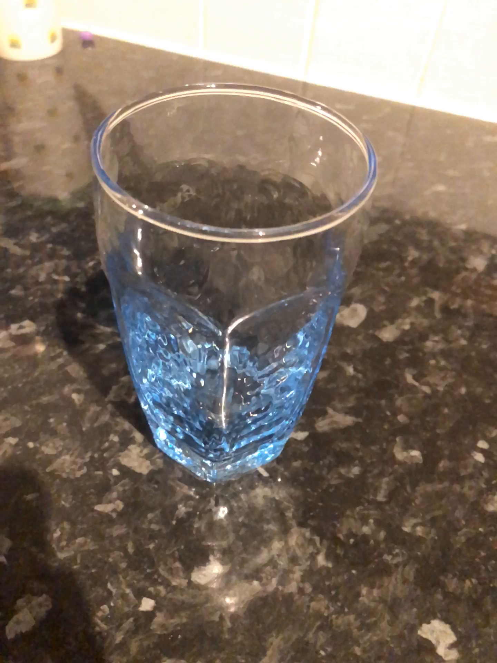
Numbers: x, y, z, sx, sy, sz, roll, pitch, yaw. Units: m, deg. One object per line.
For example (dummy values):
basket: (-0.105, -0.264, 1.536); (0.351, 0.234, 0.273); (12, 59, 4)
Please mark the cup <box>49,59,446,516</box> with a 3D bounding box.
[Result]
cup: (-0.009, -0.009, 0.178); (0.080, 0.119, 0.070); (-9, 48, -14)
